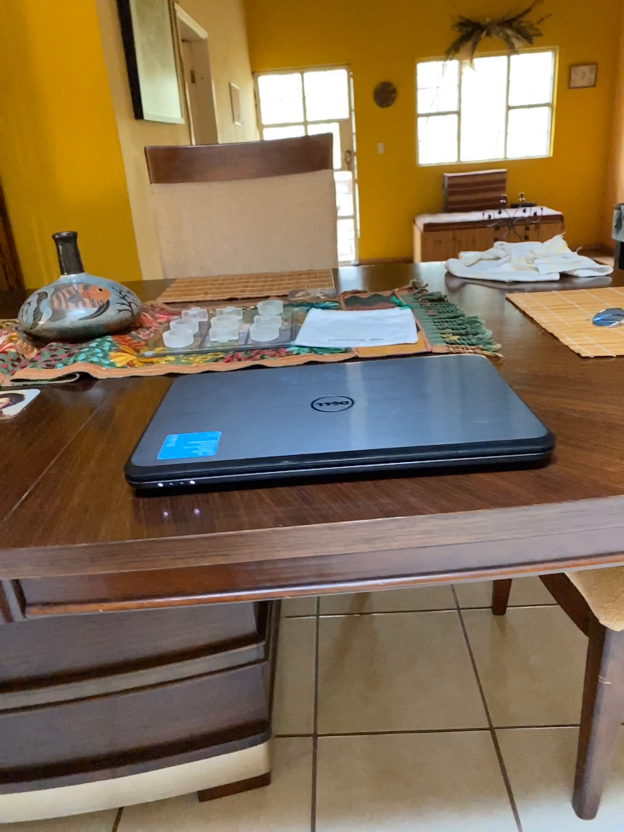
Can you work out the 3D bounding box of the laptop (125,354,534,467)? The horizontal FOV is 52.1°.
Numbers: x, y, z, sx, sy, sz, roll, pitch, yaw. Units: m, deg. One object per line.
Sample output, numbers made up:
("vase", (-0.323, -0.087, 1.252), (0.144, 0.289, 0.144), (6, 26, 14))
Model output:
("laptop", (0.013, -0.016, 0.664), (0.352, 0.001, 0.249), (-4, 22, 0))
